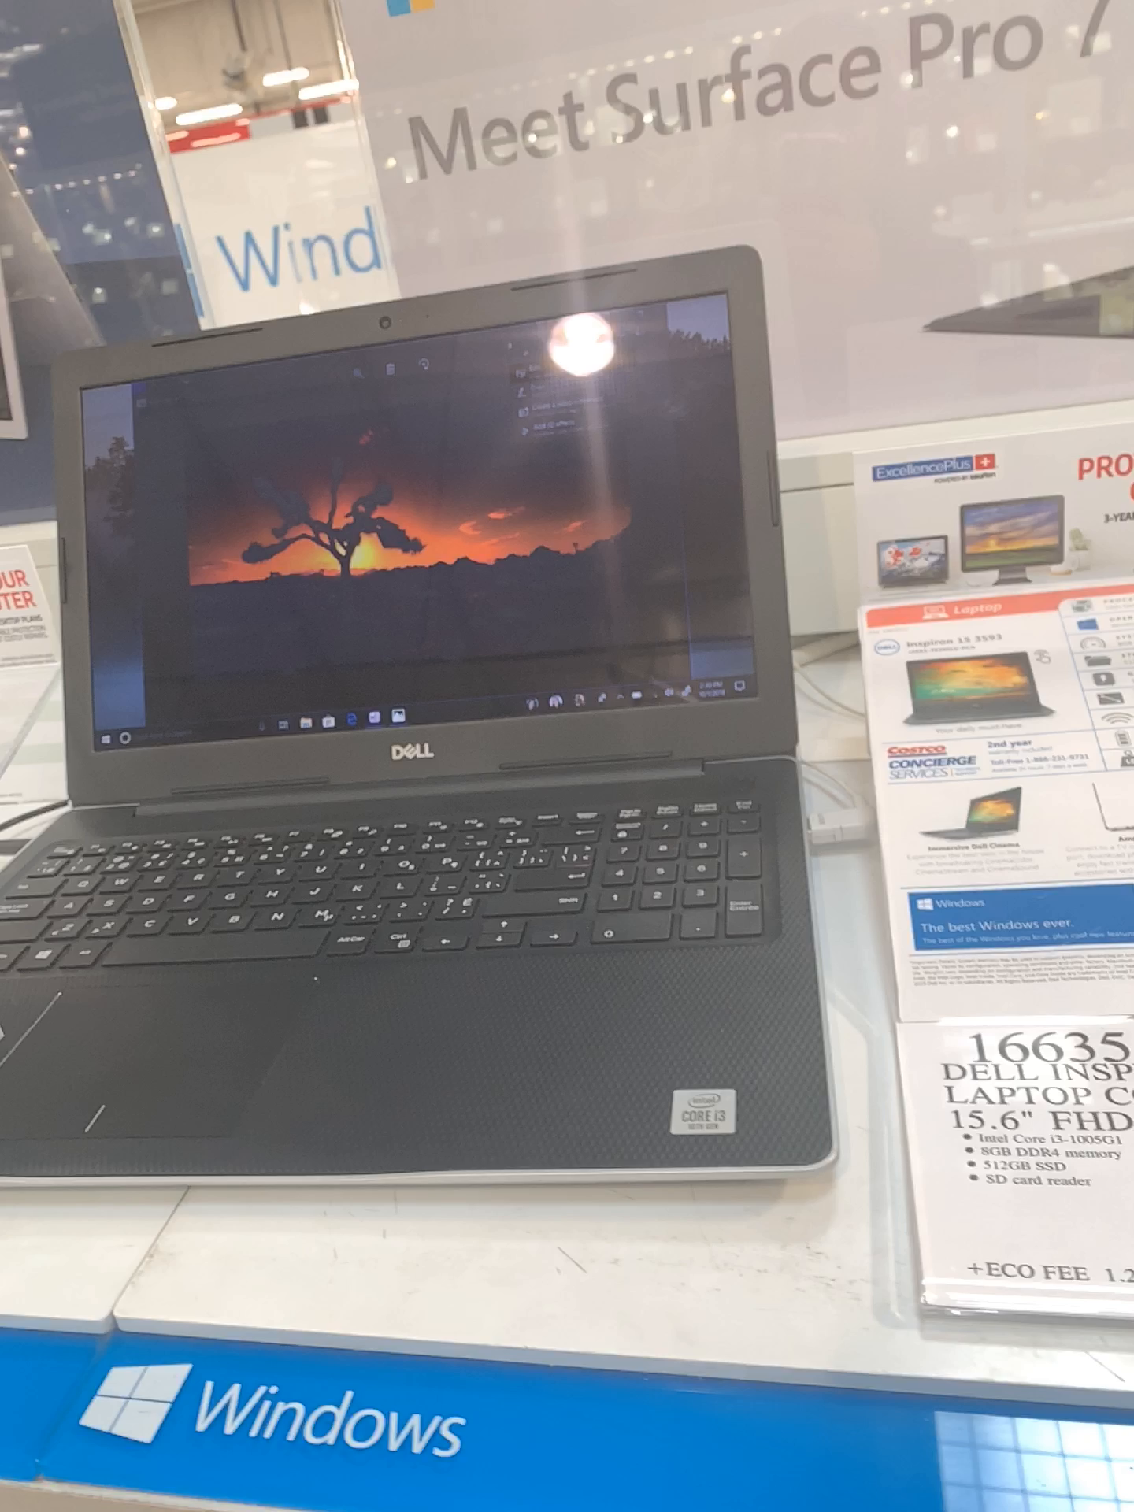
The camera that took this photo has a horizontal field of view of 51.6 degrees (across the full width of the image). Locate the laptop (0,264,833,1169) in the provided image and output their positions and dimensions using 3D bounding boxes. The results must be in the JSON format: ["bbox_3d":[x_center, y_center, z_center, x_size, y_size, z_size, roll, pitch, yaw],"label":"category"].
[{"bbox_3d":[-0.101,-0.047,0.449,0.357,0.205,0.343,-4,24,10],"label":"laptop"}]
